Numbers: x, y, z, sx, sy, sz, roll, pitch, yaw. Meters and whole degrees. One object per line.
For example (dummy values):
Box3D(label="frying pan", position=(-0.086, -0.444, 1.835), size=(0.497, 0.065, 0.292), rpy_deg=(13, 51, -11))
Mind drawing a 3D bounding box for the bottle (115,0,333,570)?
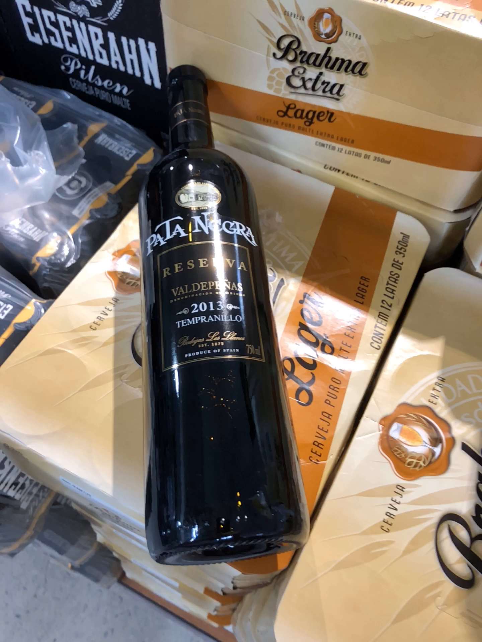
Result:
Box3D(label="bottle", position=(-0.027, -0.066, 0.324), size=(0.080, 0.080, 0.382), rpy_deg=(-5, 61, -4))
